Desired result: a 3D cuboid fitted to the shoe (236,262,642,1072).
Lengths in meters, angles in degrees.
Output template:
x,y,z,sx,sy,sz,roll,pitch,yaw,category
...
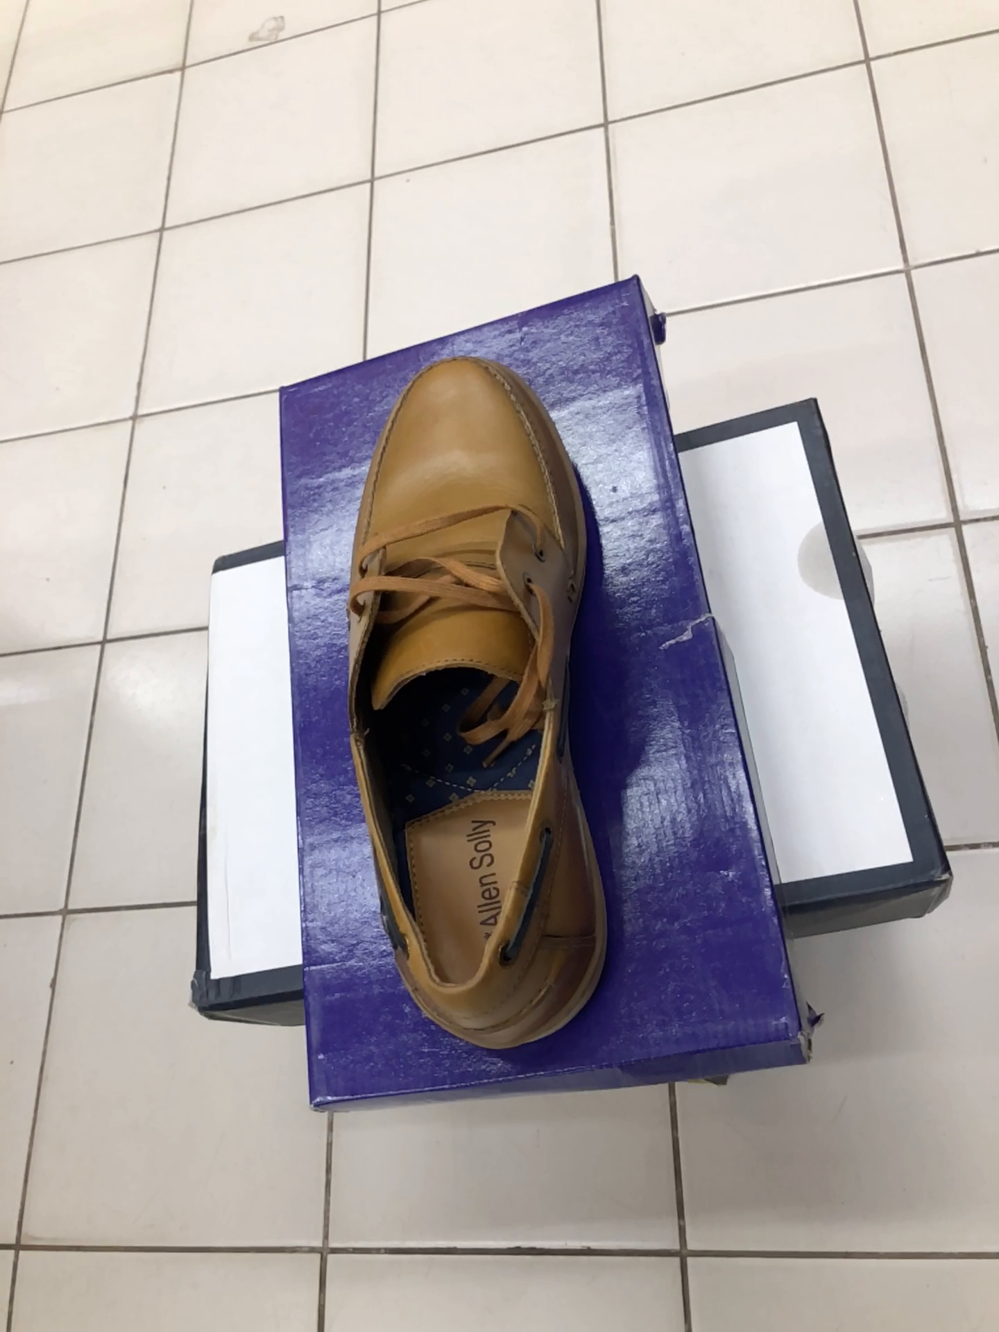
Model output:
x,y,z,sx,sy,sz,roll,pitch,yaw,category
-0.025,0.003,0.404,0.100,0.110,0.261,-11,66,12,shoe
